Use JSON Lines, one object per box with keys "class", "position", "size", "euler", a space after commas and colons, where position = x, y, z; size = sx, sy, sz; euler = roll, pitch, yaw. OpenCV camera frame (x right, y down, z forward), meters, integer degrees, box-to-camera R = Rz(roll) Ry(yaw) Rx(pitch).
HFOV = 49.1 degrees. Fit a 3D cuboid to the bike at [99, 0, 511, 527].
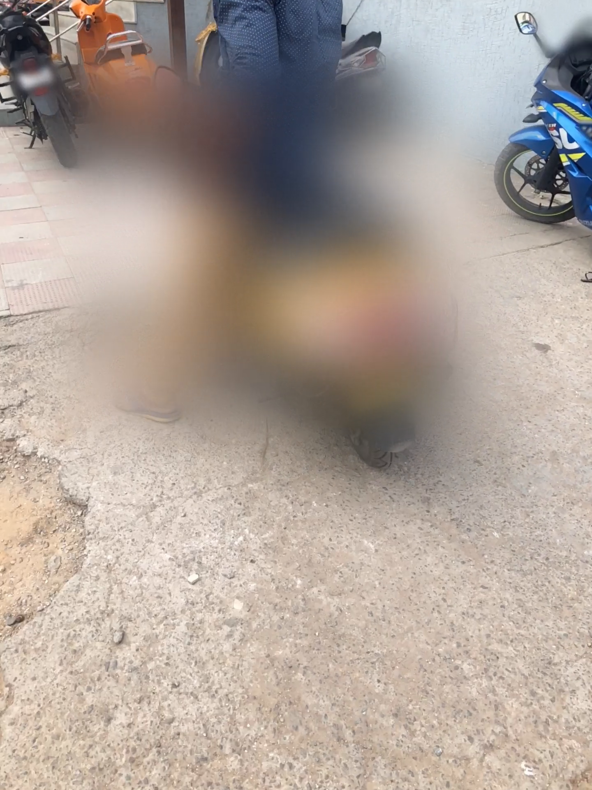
{"class": "bike", "position": [-0.147, -0.629, 2.071], "size": [0.586, 1.153, 1.533], "euler": [-10, 36, -20]}
